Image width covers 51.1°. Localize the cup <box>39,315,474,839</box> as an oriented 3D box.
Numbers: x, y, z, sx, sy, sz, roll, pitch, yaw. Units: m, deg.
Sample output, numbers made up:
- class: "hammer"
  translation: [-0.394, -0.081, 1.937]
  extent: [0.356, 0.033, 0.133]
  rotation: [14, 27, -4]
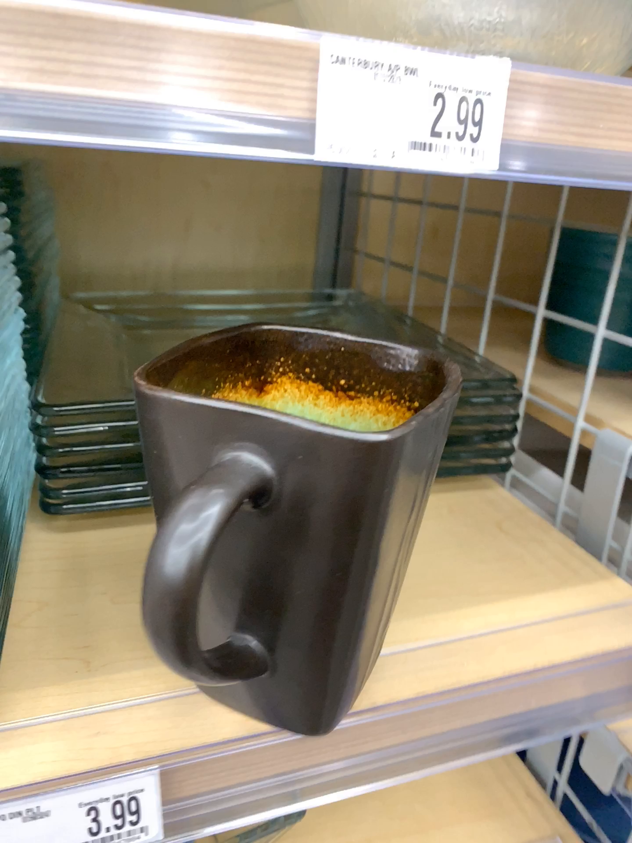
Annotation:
- class: "cup"
  translation: [-0.009, 0.031, 0.205]
  extent: [0.088, 0.099, 0.108]
  rotation: [11, 21, 16]
